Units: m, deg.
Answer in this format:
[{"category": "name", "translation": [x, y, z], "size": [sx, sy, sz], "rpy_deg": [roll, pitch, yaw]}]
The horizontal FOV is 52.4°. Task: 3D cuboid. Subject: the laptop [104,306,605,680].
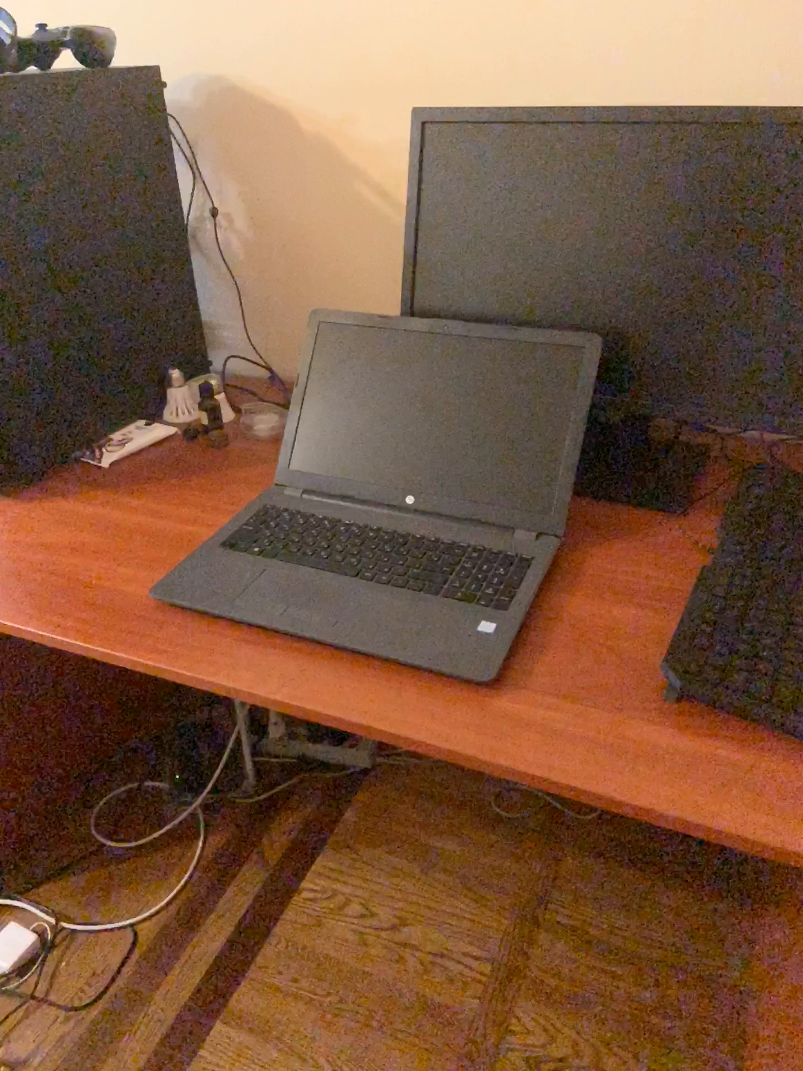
[{"category": "laptop", "translation": [-0.017, -0.084, 0.872], "size": [0.372, 0.188, 0.393], "rpy_deg": [11, 33, 20]}]
